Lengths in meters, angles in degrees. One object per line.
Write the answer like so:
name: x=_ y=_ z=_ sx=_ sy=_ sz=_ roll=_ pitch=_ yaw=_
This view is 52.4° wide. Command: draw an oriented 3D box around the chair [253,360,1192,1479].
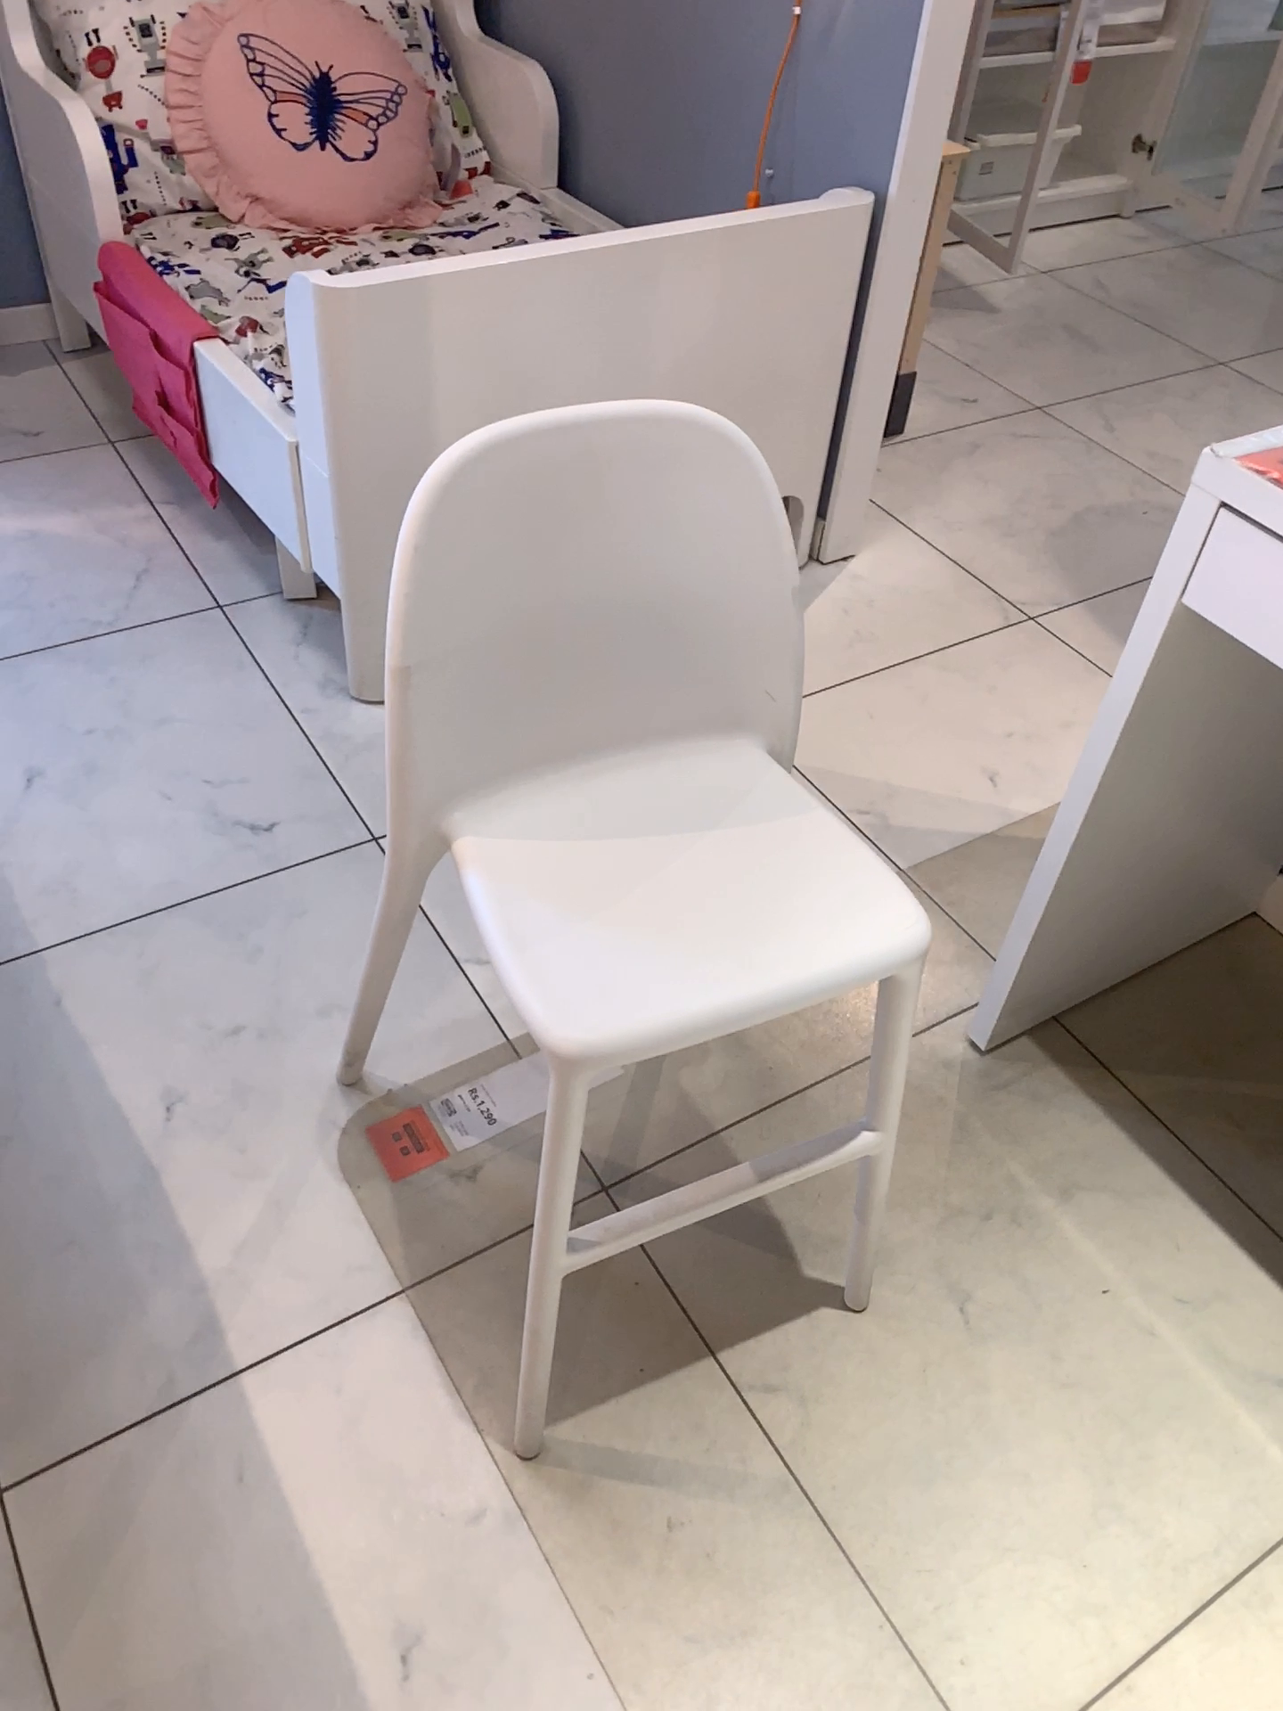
chair: x=-0.003 y=0.055 z=1.088 sx=0.430 sy=0.697 sz=0.502 roll=-15 pitch=47 yaw=-21
